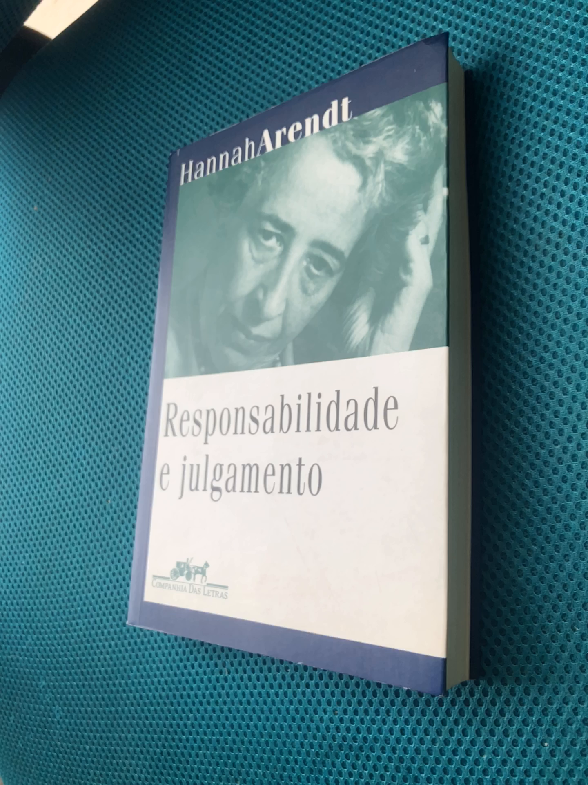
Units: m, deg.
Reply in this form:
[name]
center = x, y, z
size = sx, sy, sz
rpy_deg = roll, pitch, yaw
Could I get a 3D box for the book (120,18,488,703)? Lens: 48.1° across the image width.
[book]
center = 0.000, -0.011, 0.254
size = 0.142, 0.035, 0.209
rpy_deg = -5, 78, 39
